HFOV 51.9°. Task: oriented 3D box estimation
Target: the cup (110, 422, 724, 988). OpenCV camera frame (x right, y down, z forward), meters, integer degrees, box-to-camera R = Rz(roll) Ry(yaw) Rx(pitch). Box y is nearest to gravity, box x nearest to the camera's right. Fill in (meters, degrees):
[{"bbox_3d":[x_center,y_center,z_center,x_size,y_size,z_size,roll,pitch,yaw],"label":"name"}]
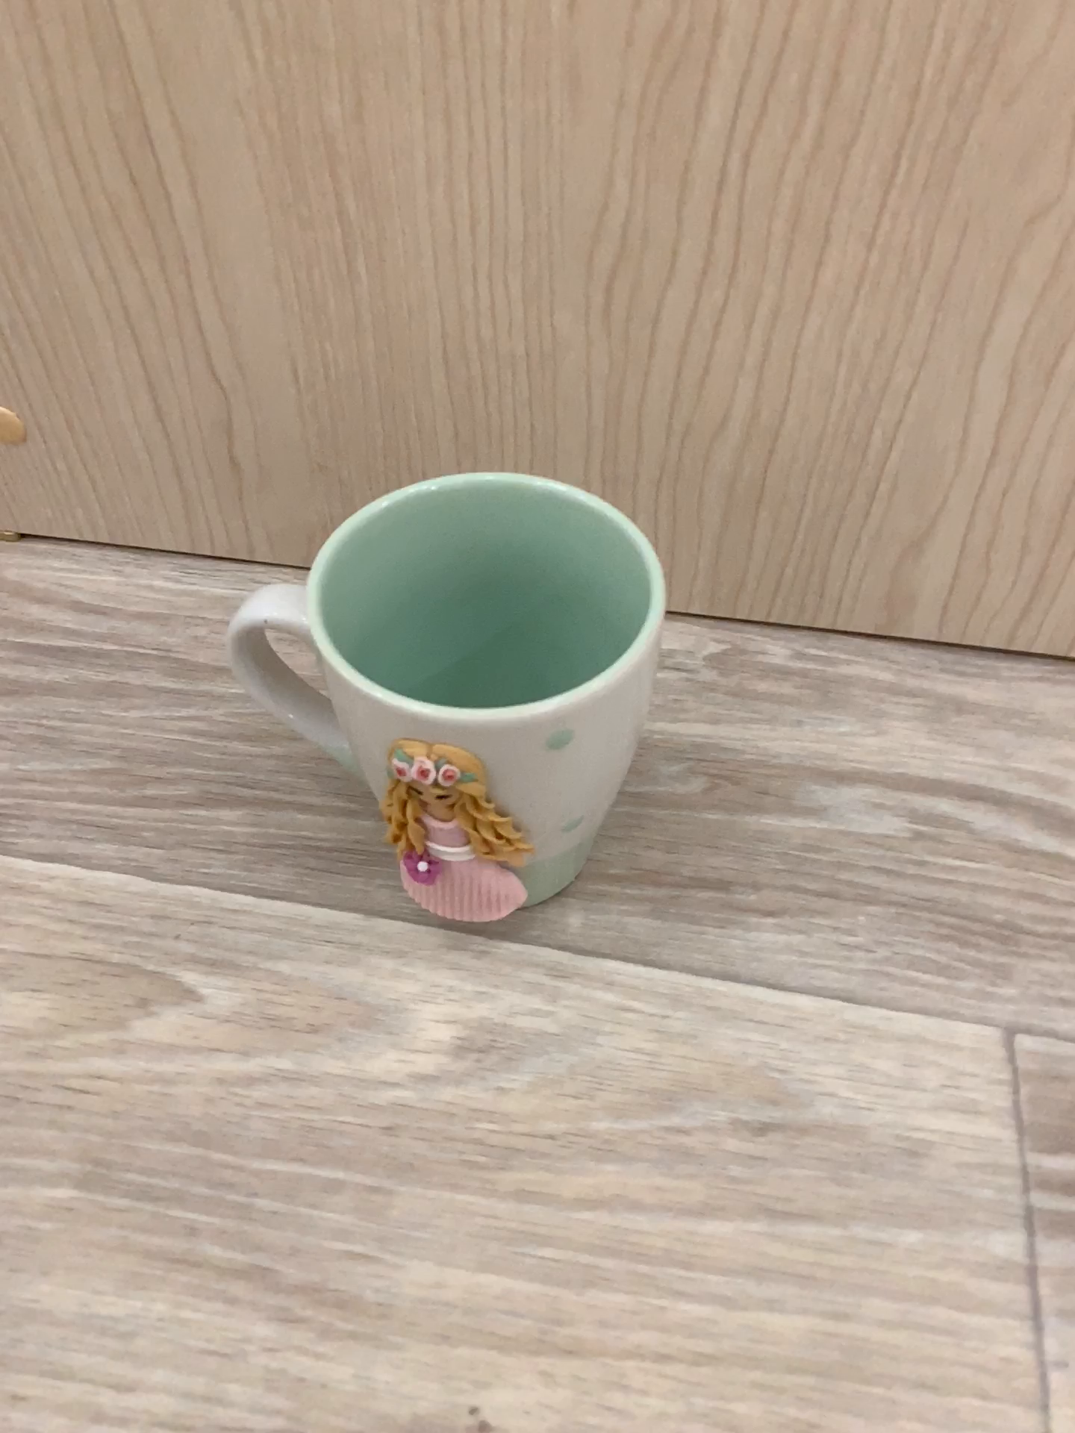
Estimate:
[{"bbox_3d":[-0.020,-0.005,0.269,0.111,0.080,0.093,9,48,8],"label":"cup"}]
